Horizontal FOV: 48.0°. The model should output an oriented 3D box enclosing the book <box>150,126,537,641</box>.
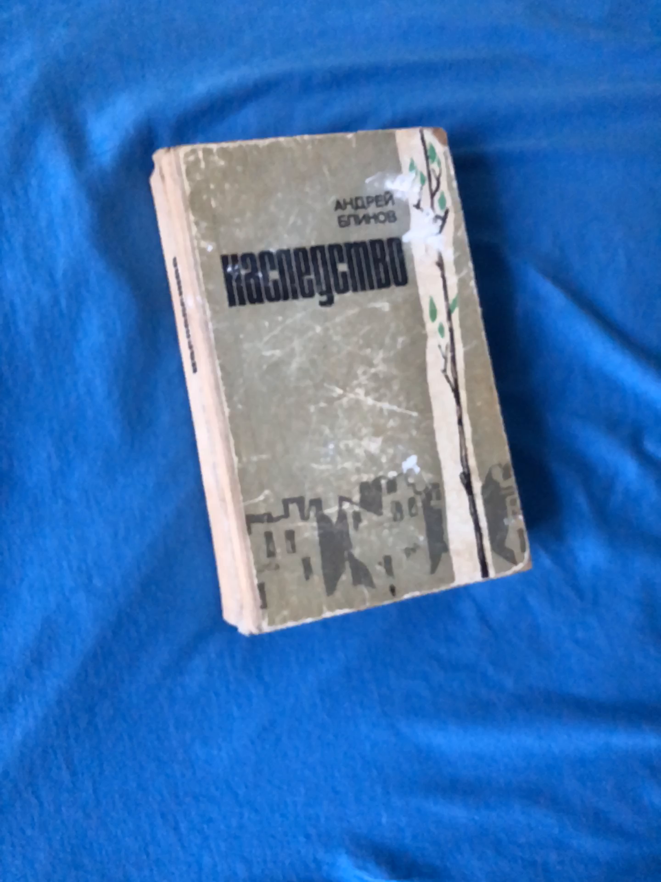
[{"bbox_3d":[0.004,-0.030,0.324,0.130,0.040,0.200,-9,86,-17],"label":"book"}]
